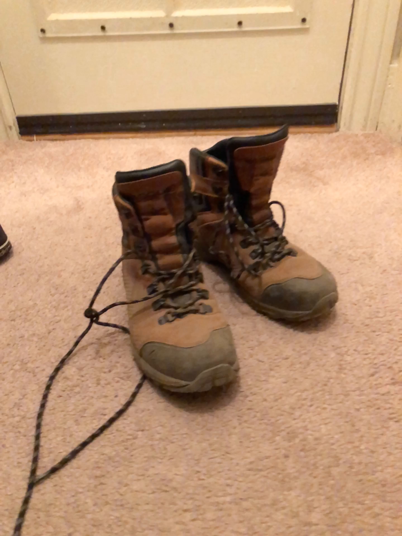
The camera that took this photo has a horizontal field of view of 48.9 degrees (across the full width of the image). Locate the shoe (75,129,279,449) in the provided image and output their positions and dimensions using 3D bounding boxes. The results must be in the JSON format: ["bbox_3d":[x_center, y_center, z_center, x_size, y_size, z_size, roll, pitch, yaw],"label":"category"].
[{"bbox_3d":[-0.045,0.000,0.528,0.120,0.219,0.312,-15,38,-16],"label":"shoe"}]

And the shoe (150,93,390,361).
[{"bbox_3d":[0.065,-0.075,0.605,0.120,0.229,0.311,-22,41,-24],"label":"shoe"}]
